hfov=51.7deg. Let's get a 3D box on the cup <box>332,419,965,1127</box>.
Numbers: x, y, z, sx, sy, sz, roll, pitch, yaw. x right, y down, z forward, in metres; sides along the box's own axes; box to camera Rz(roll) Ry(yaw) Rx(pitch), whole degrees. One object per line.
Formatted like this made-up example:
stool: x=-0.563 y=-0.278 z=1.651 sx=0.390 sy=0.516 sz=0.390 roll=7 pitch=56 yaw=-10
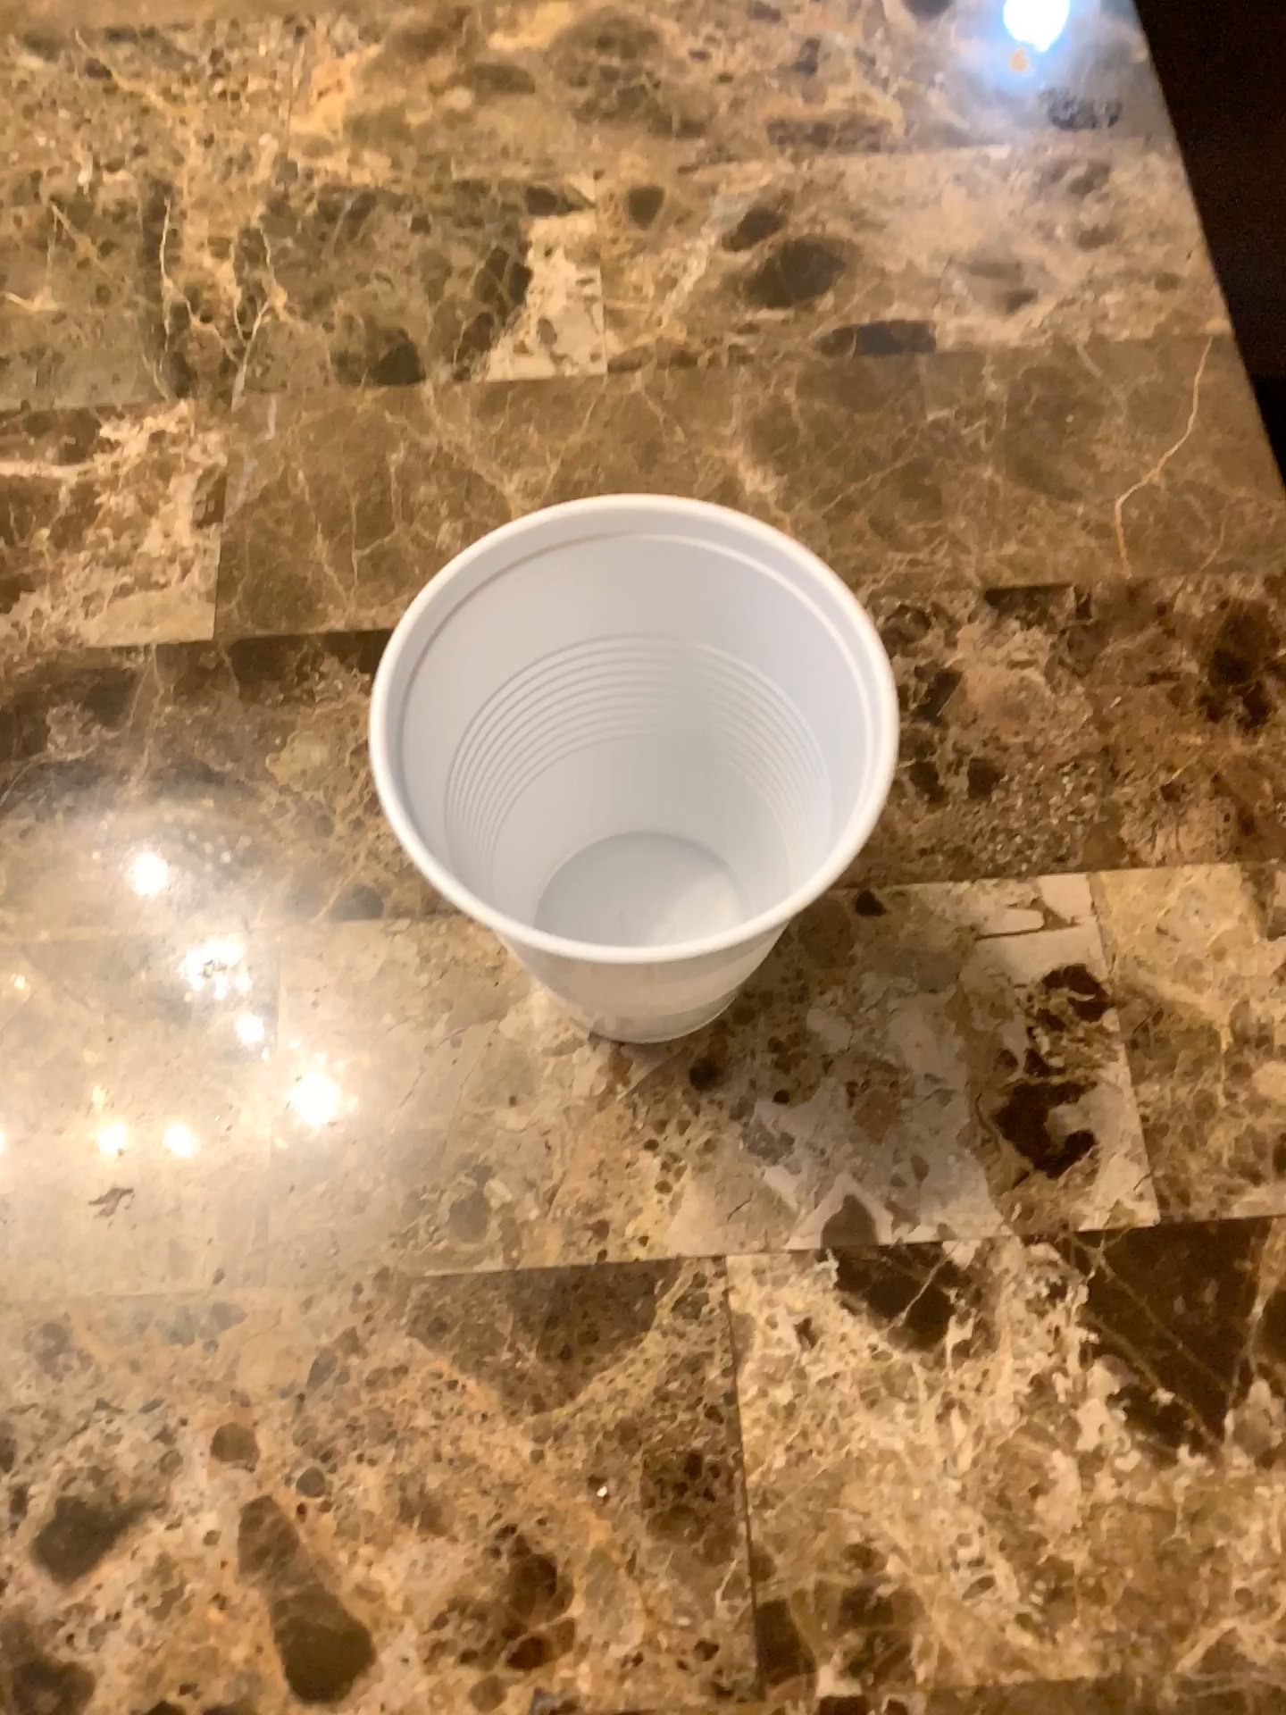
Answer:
cup: x=-0.001 y=-0.010 z=0.233 sx=0.077 sy=0.084 sz=0.082 roll=-1 pitch=66 yaw=2
